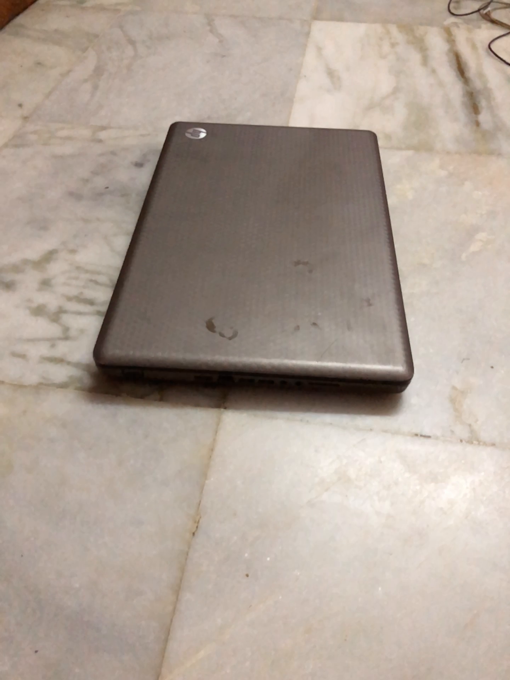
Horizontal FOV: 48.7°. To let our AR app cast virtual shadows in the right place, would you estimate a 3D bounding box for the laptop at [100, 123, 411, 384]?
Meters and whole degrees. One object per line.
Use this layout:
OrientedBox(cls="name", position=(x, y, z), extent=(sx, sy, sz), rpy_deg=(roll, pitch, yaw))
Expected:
OrientedBox(cls="laptop", position=(0.012, -0.122, 0.586), extent=(0.252, 0.003, 0.396), rpy_deg=(4, 48, 2))
